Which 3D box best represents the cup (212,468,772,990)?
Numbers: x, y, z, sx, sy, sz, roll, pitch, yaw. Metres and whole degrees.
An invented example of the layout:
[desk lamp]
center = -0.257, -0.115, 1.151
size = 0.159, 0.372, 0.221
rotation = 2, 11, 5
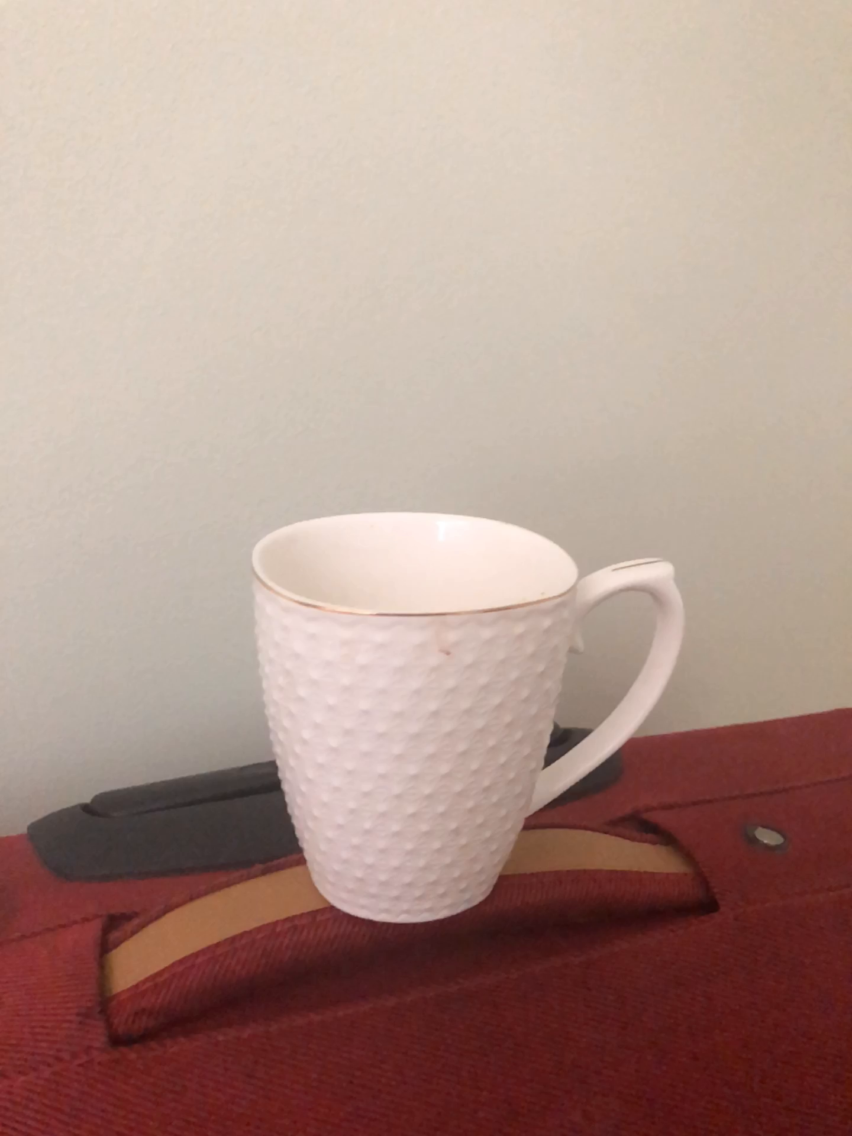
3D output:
[cup]
center = 0.013, 0.030, 0.242
size = 0.112, 0.084, 0.075
rotation = -9, 23, -25
